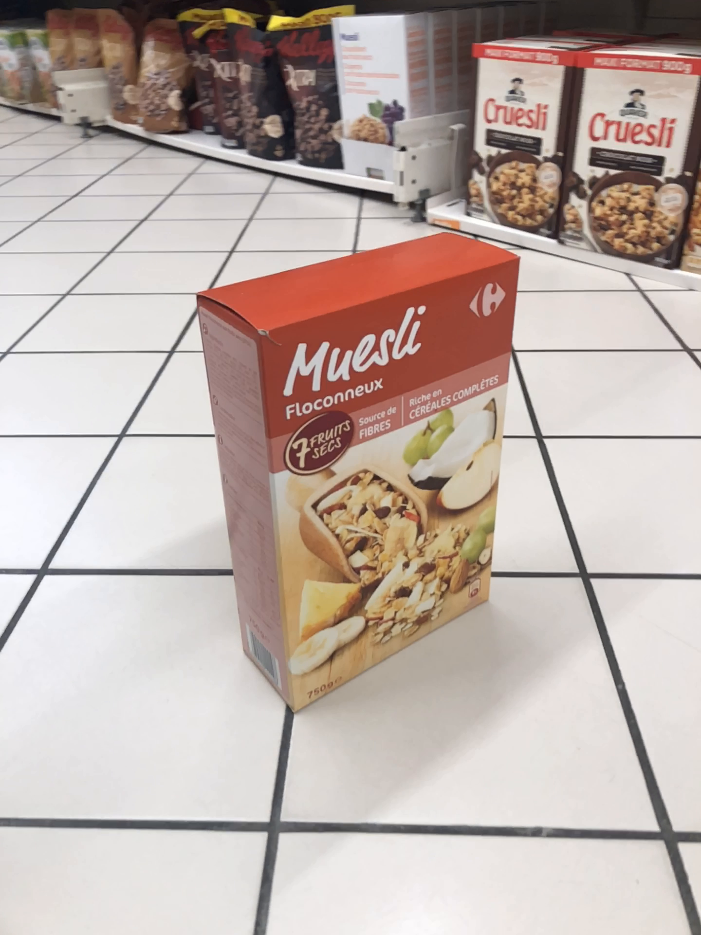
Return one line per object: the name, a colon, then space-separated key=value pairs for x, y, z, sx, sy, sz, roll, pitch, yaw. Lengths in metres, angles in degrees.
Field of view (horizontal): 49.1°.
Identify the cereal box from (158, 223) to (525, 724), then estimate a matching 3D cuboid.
cereal box: x=0.002 y=0.001 z=0.449 sx=0.171 sy=0.239 sz=0.080 roll=-22 pitch=37 yaw=-29
